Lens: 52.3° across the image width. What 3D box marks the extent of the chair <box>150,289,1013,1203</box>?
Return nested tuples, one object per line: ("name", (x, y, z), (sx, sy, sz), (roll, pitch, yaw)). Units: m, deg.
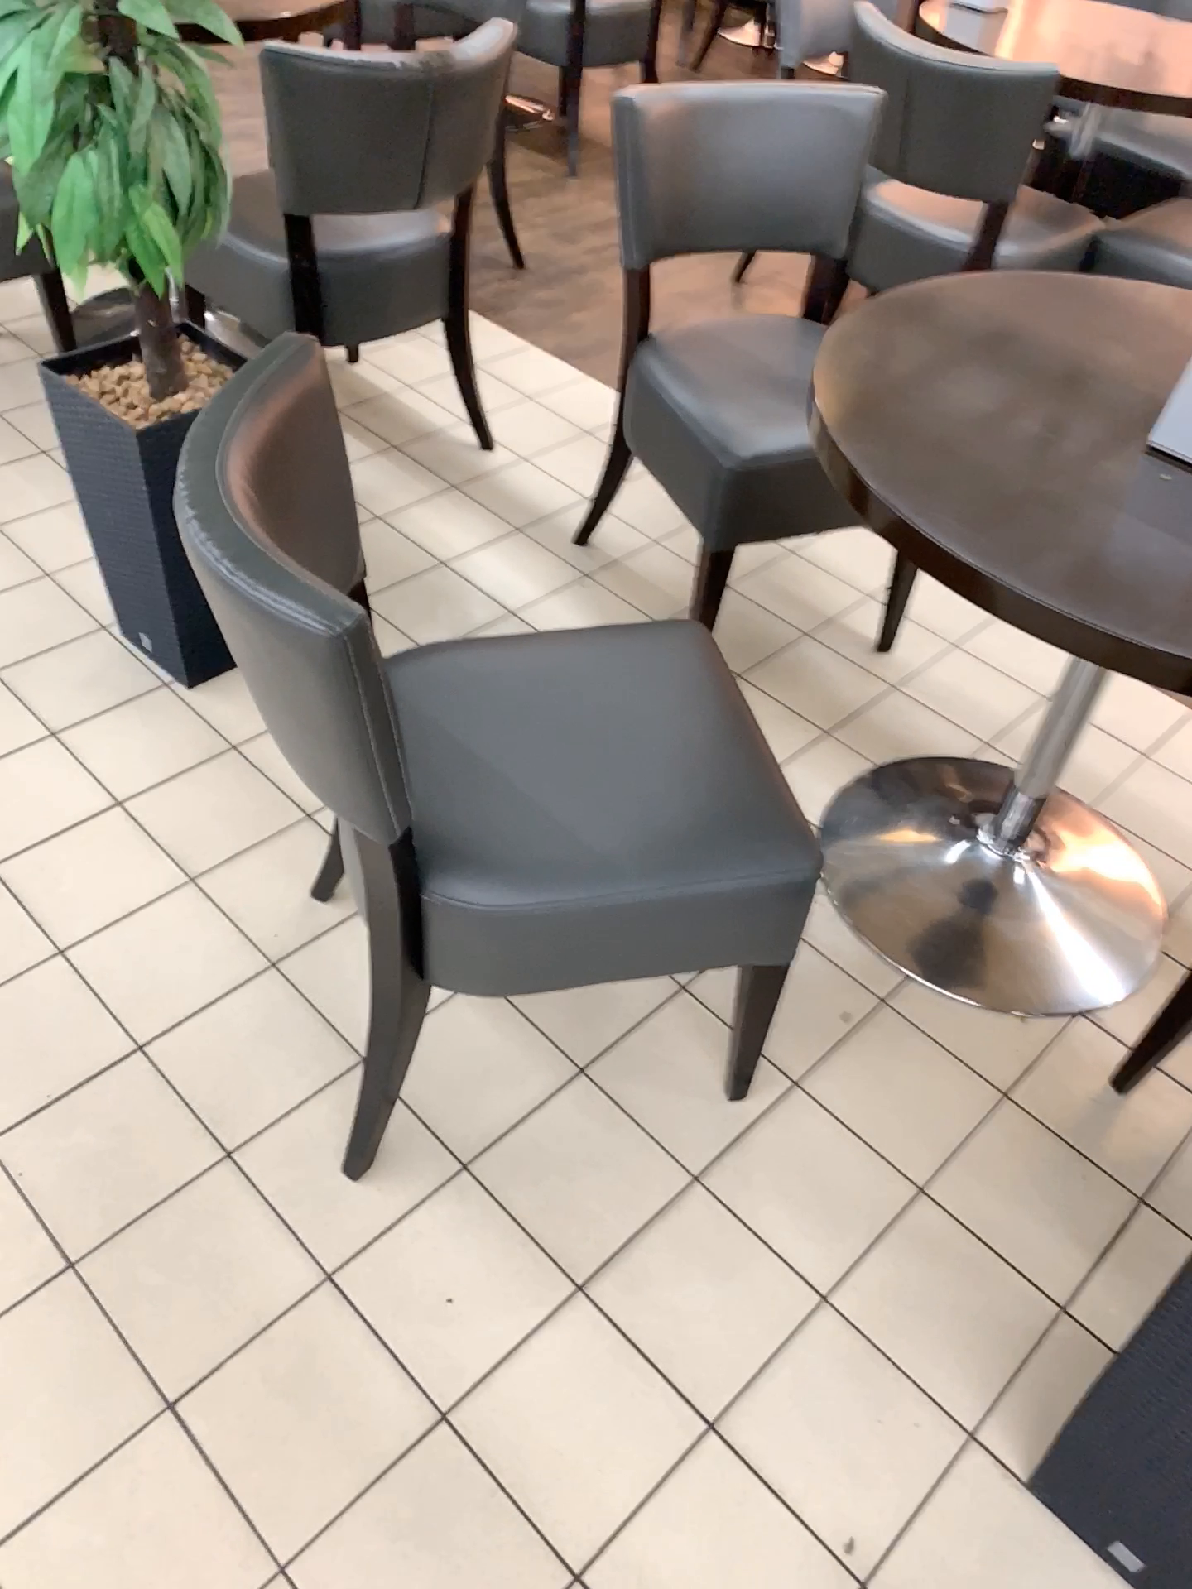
("chair", (-0.081, -0.047, 1.343), (0.640, 0.796, 0.553), (-5, 45, -12))
